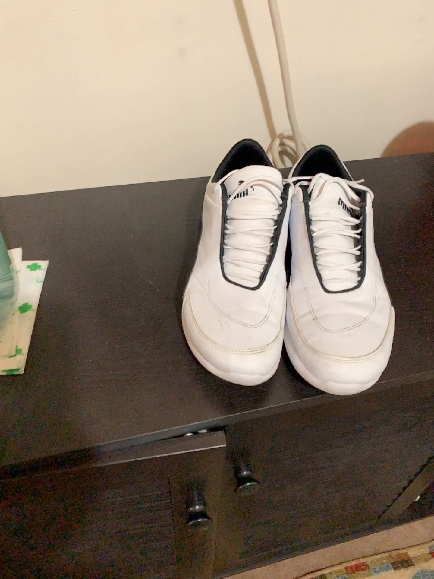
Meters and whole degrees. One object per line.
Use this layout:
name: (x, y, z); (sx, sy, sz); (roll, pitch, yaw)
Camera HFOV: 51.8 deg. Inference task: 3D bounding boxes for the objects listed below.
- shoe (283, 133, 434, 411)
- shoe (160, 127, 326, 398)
shoe: (0.125, -0.038, 0.451); (0.100, 0.089, 0.293); (5, 49, 2)
shoe: (0.029, -0.046, 0.449); (0.120, 0.089, 0.283); (5, 49, 2)
